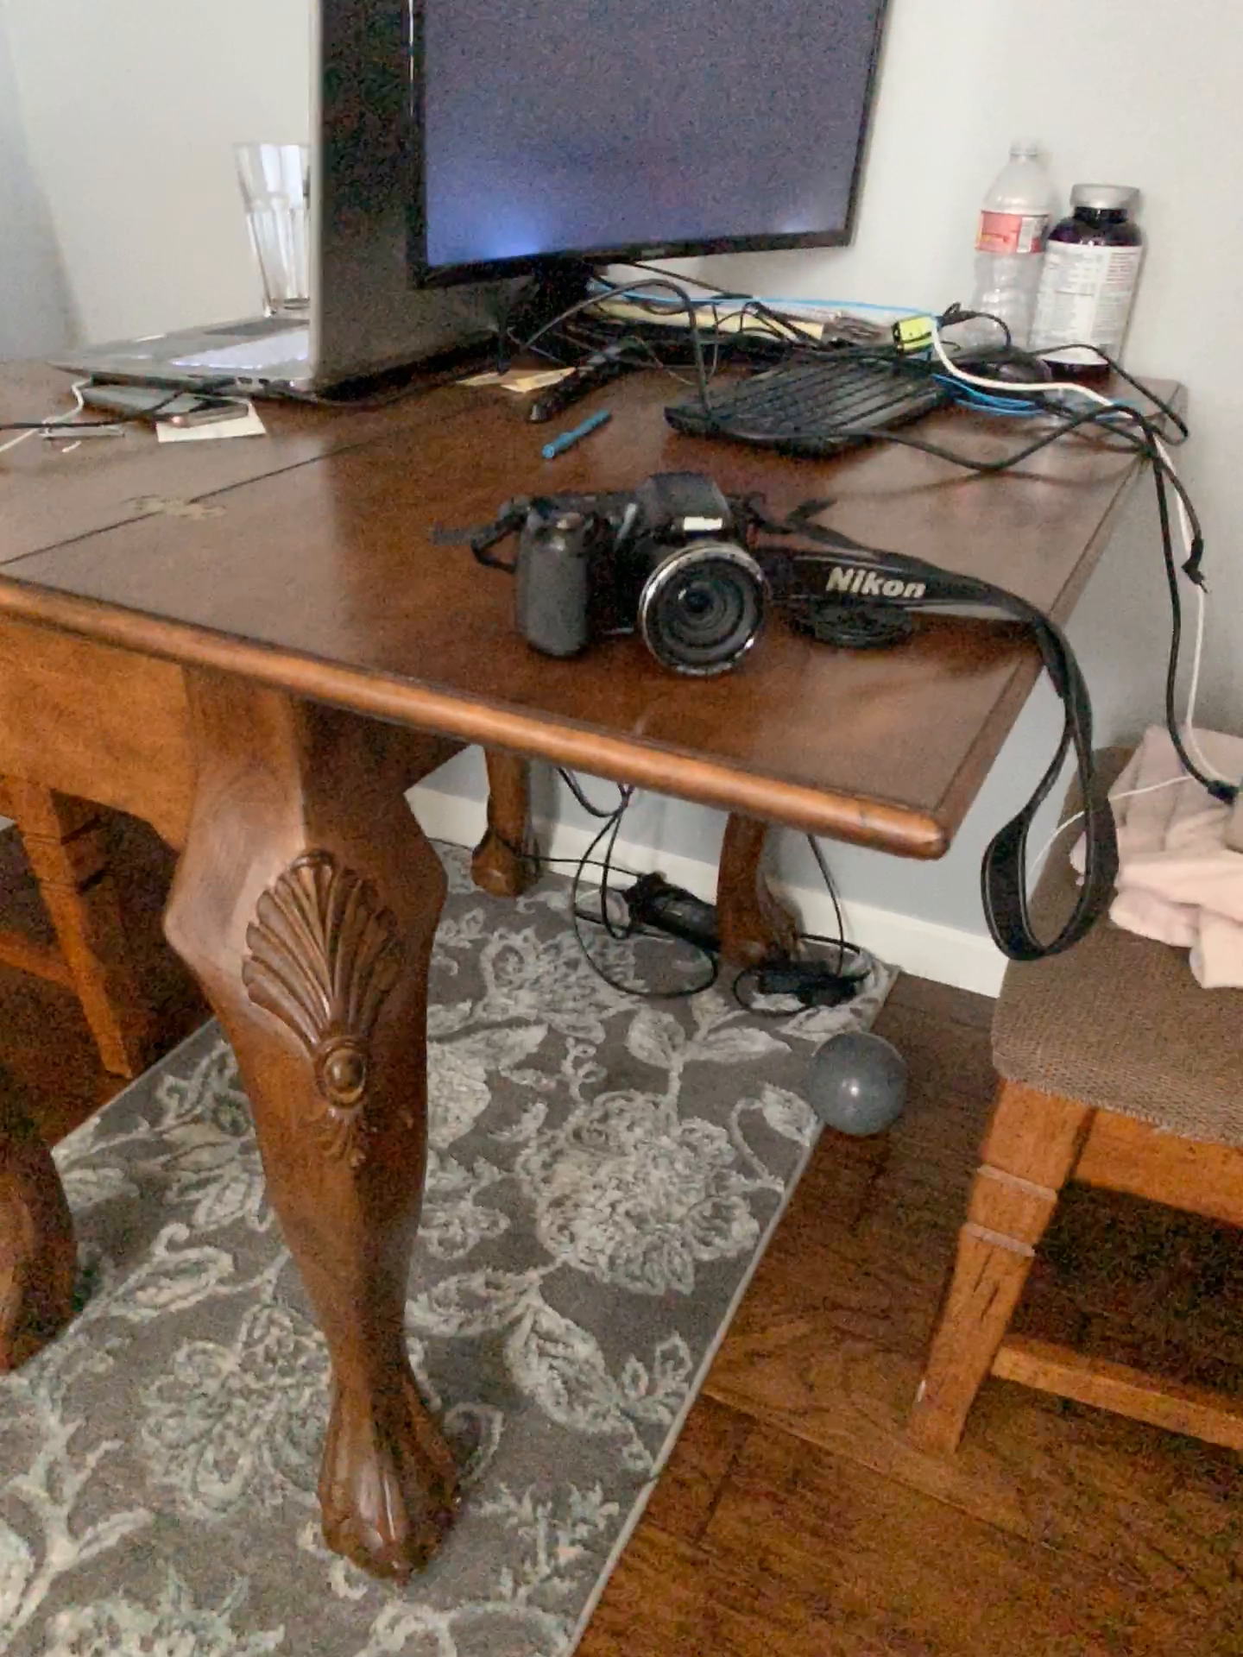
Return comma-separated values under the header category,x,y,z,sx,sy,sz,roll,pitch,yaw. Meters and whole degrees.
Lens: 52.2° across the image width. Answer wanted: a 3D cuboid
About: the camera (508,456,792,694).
category,x,y,z,sx,sy,sz,roll,pitch,yaw
camera,0.009,-0.120,0.586,0.110,0.079,0.091,-4,30,-10
